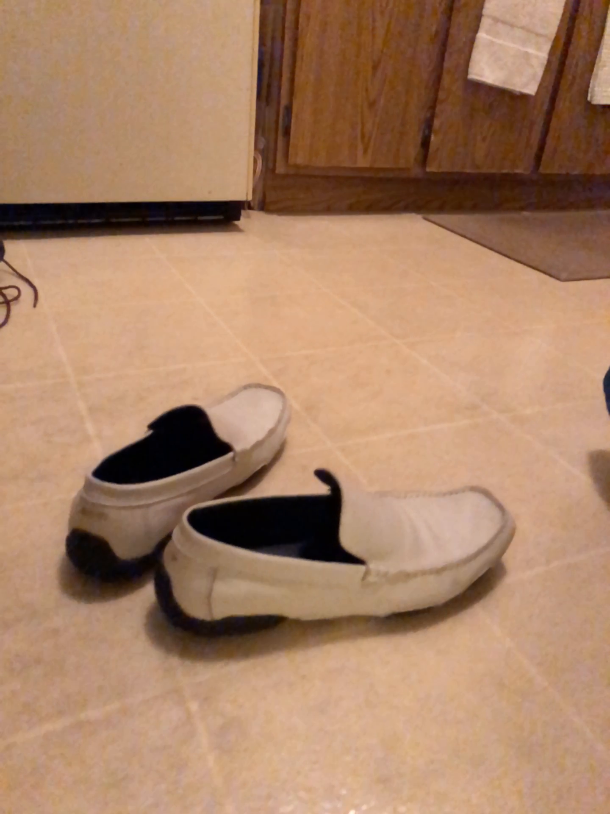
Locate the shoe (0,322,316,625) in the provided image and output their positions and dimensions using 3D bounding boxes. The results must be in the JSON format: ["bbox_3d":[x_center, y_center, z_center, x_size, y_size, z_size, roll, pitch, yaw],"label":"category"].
[{"bbox_3d":[-0.103,0.030,0.581,0.110,0.097,0.308,15,30,18],"label":"shoe"}]

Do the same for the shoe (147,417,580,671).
[{"bbox_3d":[0.037,0.089,0.496,0.290,0.097,0.111,-5,30,-18],"label":"shoe"}]
